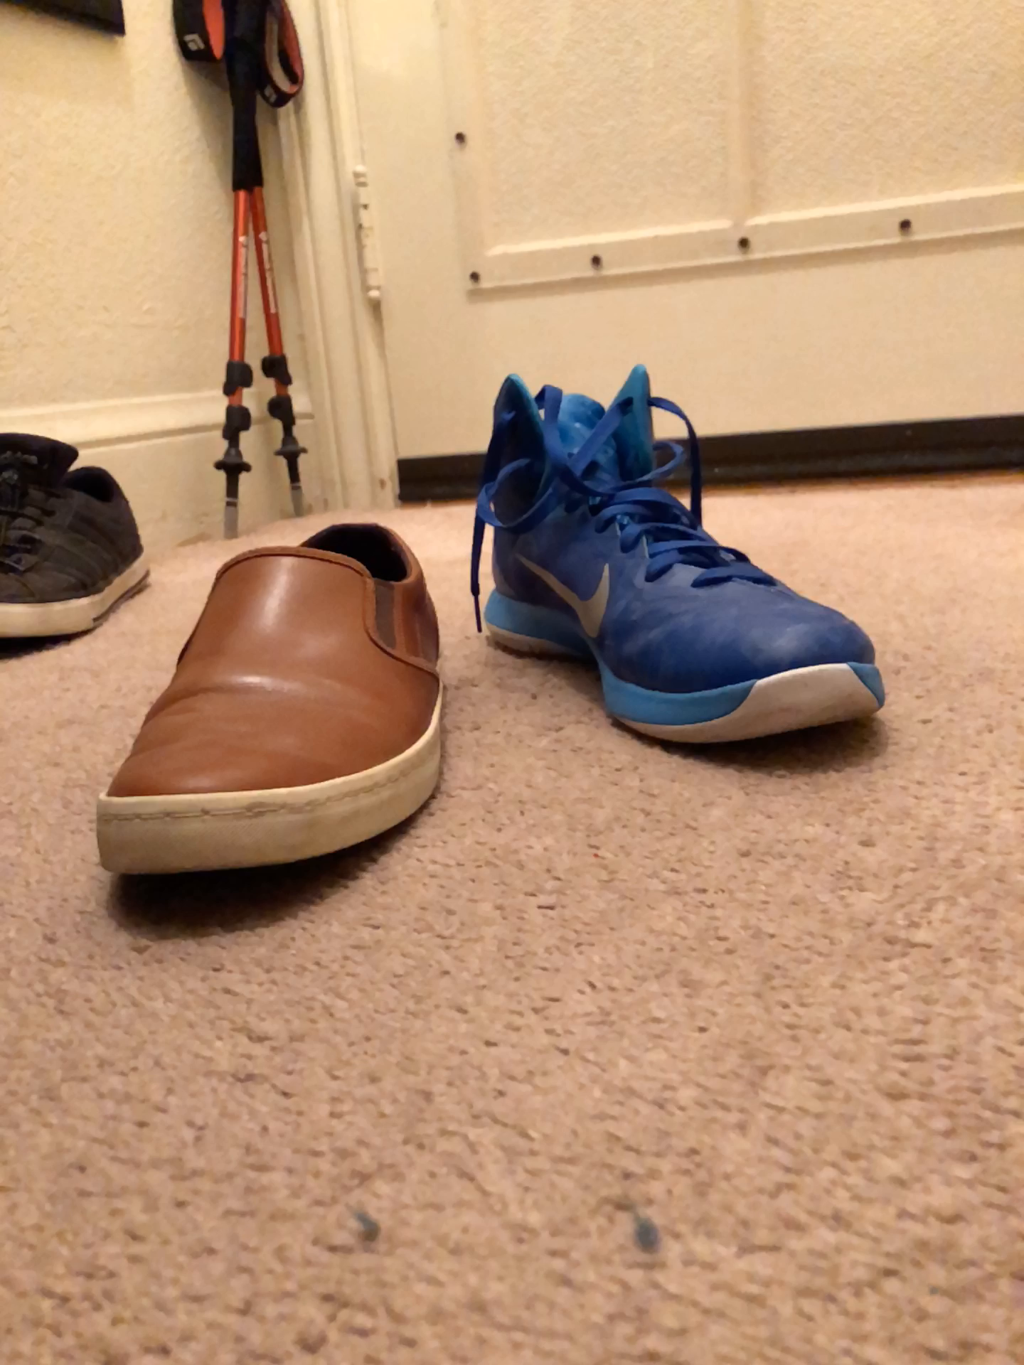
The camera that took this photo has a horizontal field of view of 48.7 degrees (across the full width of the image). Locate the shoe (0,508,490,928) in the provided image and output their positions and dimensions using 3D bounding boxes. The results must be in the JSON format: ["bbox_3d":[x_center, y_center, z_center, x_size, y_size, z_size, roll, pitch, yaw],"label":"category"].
[{"bbox_3d":[-0.082,-0.007,0.461,0.105,0.083,0.283,-3,16,7],"label":"shoe"}]

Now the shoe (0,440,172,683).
[{"bbox_3d":[-0.340,-0.098,0.791,0.115,0.113,0.293,-5,16,-1],"label":"shoe"}]

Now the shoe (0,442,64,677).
[{"bbox_3d":[-0.441,-0.102,0.816,0.115,0.113,0.293,-5,16,-1],"label":"shoe"}]

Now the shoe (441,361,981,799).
[{"bbox_3d":[0.070,-0.070,0.537,0.115,0.143,0.293,-10,16,-18],"label":"shoe"}]
